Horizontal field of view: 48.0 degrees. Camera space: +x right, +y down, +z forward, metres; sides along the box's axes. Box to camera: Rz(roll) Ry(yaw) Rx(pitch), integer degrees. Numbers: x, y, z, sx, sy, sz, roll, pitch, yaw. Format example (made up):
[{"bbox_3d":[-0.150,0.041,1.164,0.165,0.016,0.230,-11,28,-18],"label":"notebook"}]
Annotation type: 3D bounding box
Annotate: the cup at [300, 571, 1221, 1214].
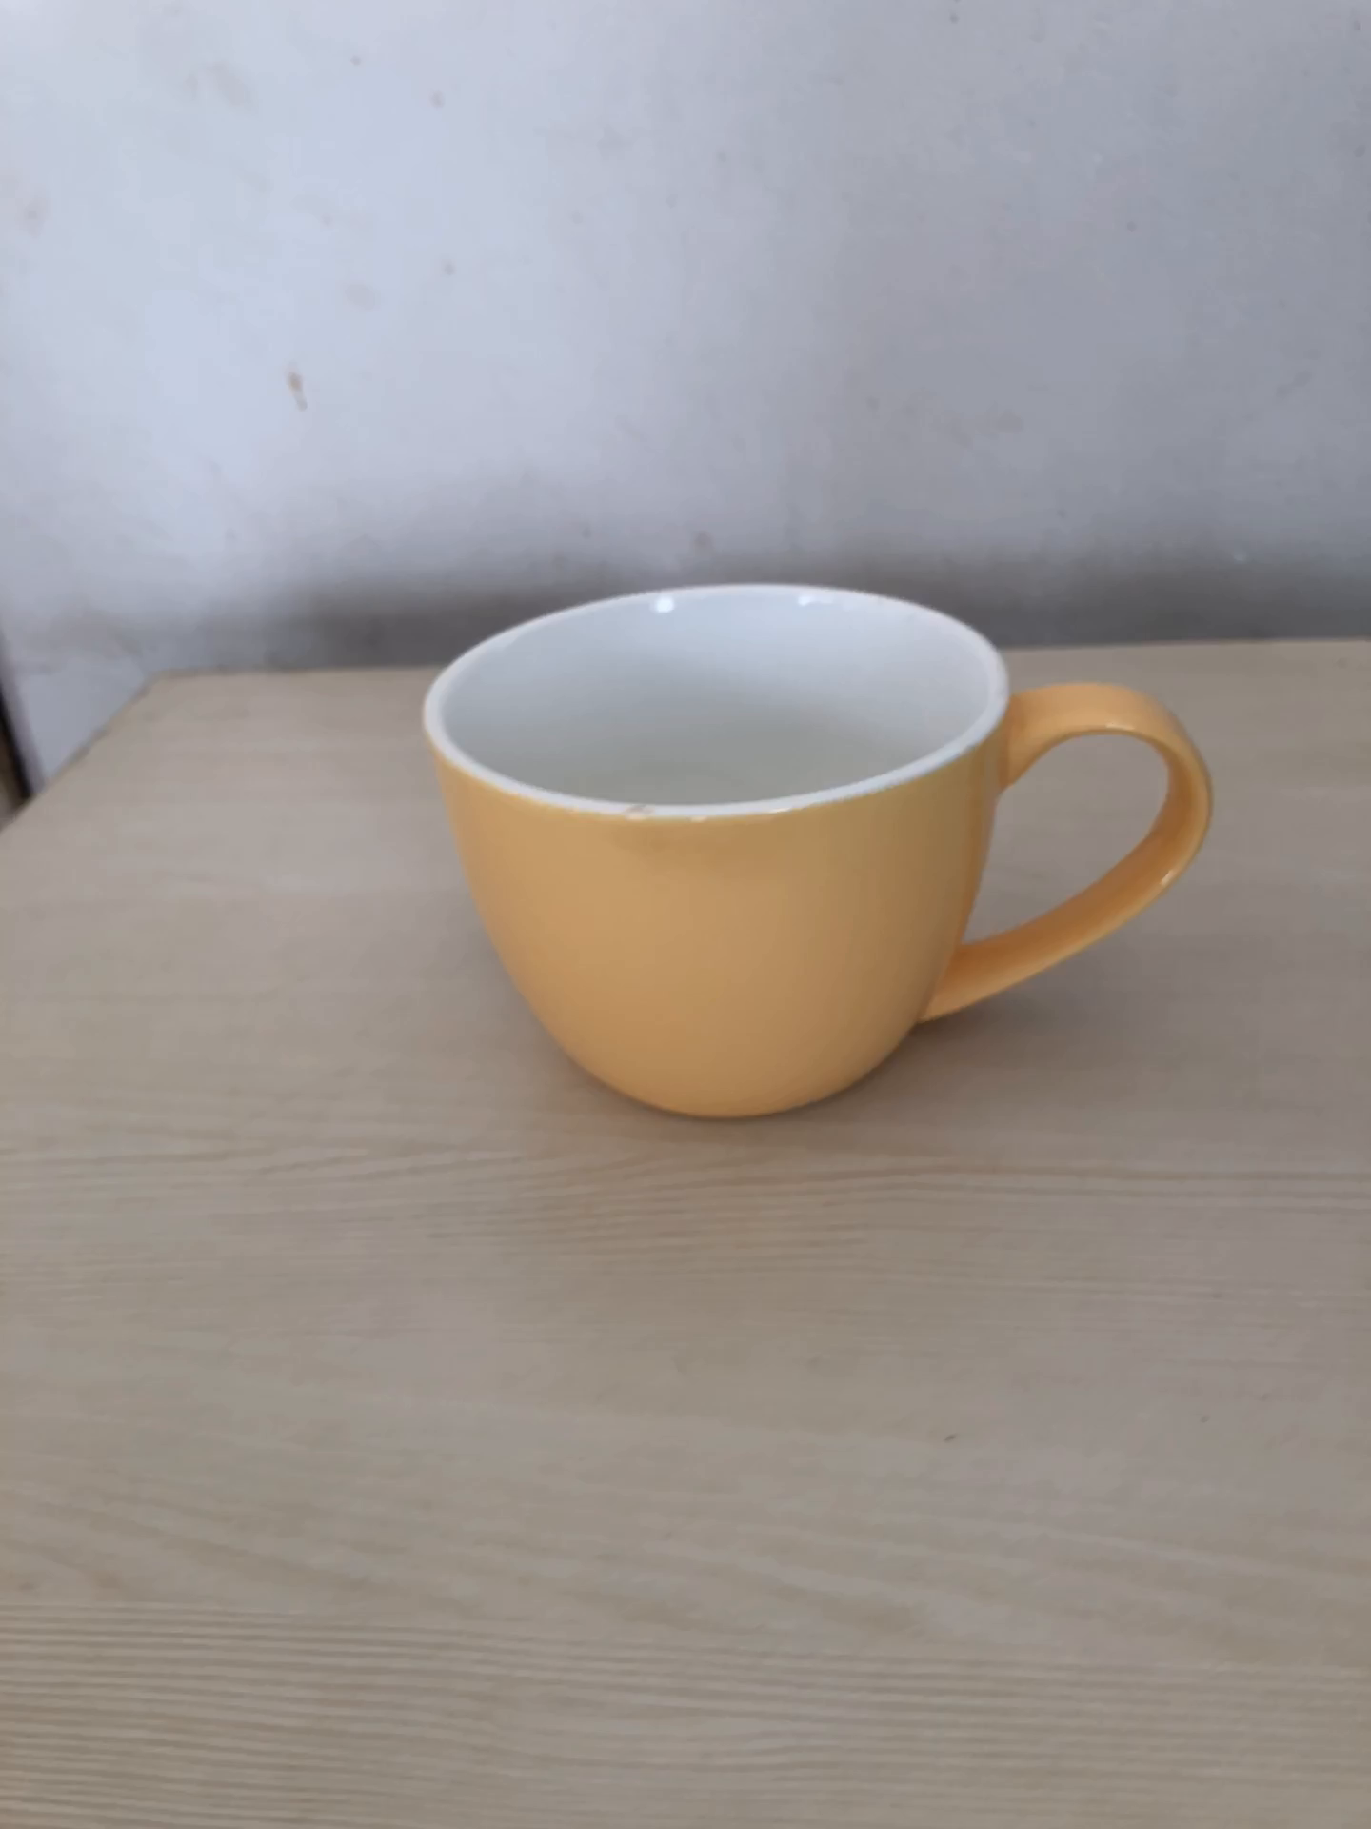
[{"bbox_3d":[0.018,-0.009,0.296,0.140,0.079,0.101,0,30,8],"label":"cup"}]
